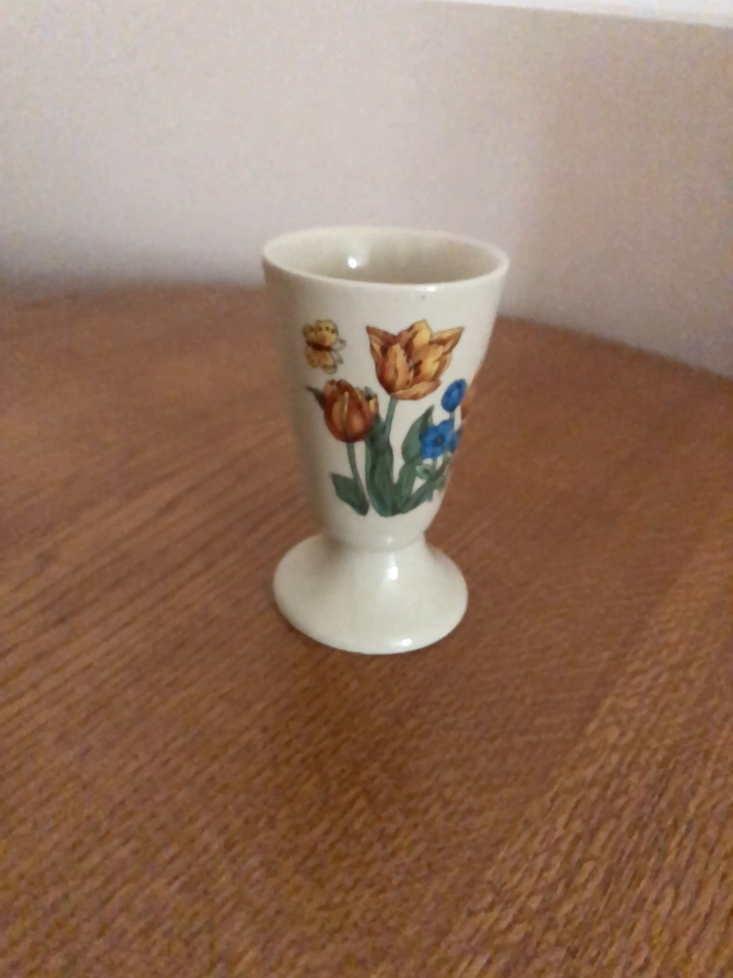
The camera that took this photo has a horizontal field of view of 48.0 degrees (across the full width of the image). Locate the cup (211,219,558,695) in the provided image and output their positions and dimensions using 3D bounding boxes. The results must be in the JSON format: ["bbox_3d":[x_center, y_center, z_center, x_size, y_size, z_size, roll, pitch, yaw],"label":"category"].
[{"bbox_3d":[-0.004,-0.013,0.257,0.080,0.119,0.080,3,29,-2],"label":"cup"}]

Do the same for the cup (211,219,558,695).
[{"bbox_3d":[-0.004,-0.013,0.257,0.080,0.119,0.080,3,29,-2],"label":"cup"}]
